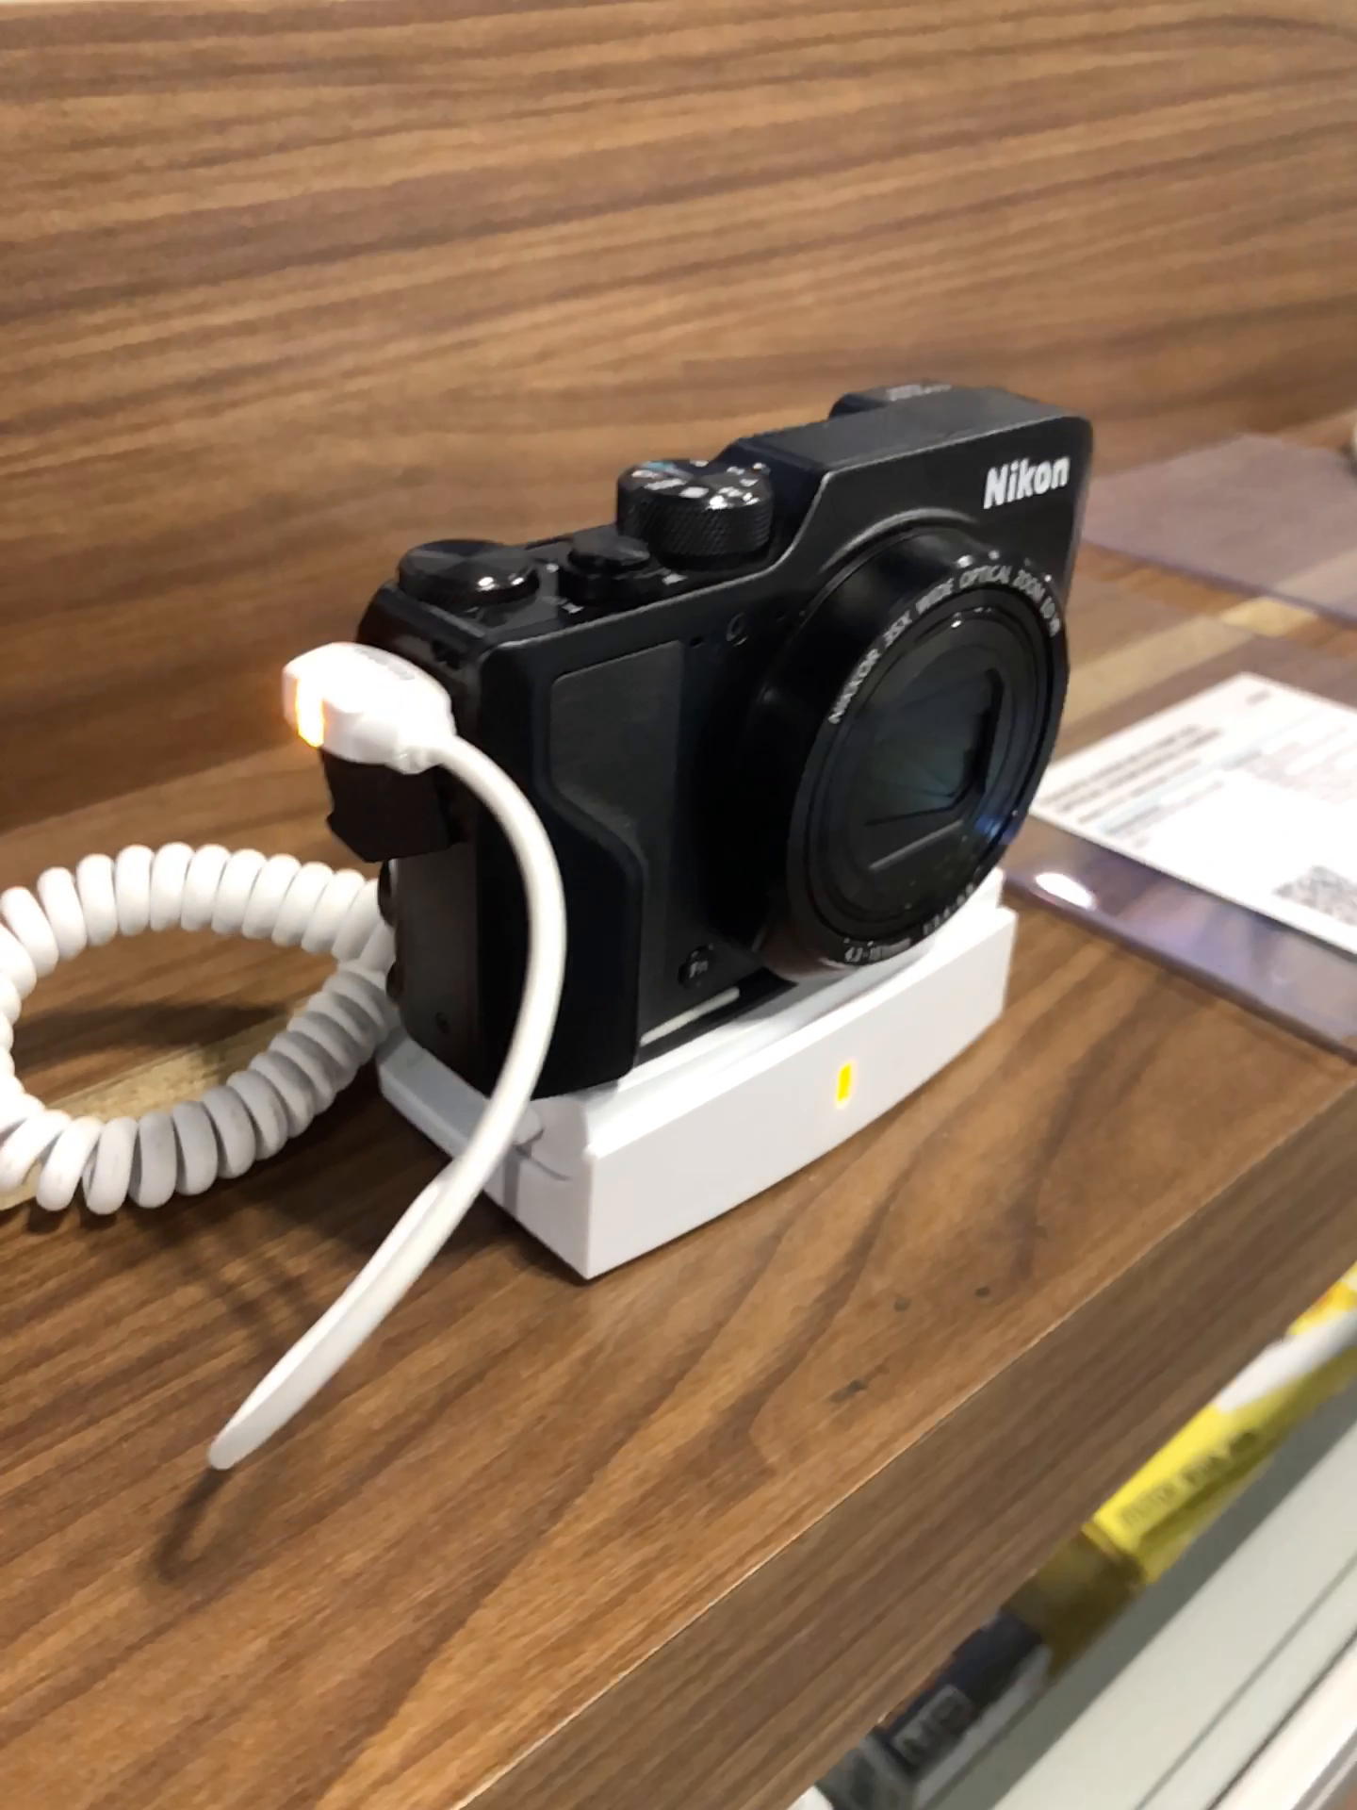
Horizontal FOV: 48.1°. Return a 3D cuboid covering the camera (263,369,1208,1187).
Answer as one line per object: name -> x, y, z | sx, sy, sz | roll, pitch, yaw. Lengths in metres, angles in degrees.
camera -> 0.013, -0.027, 0.214 | 0.120, 0.070, 0.050 | -24, 38, -34
